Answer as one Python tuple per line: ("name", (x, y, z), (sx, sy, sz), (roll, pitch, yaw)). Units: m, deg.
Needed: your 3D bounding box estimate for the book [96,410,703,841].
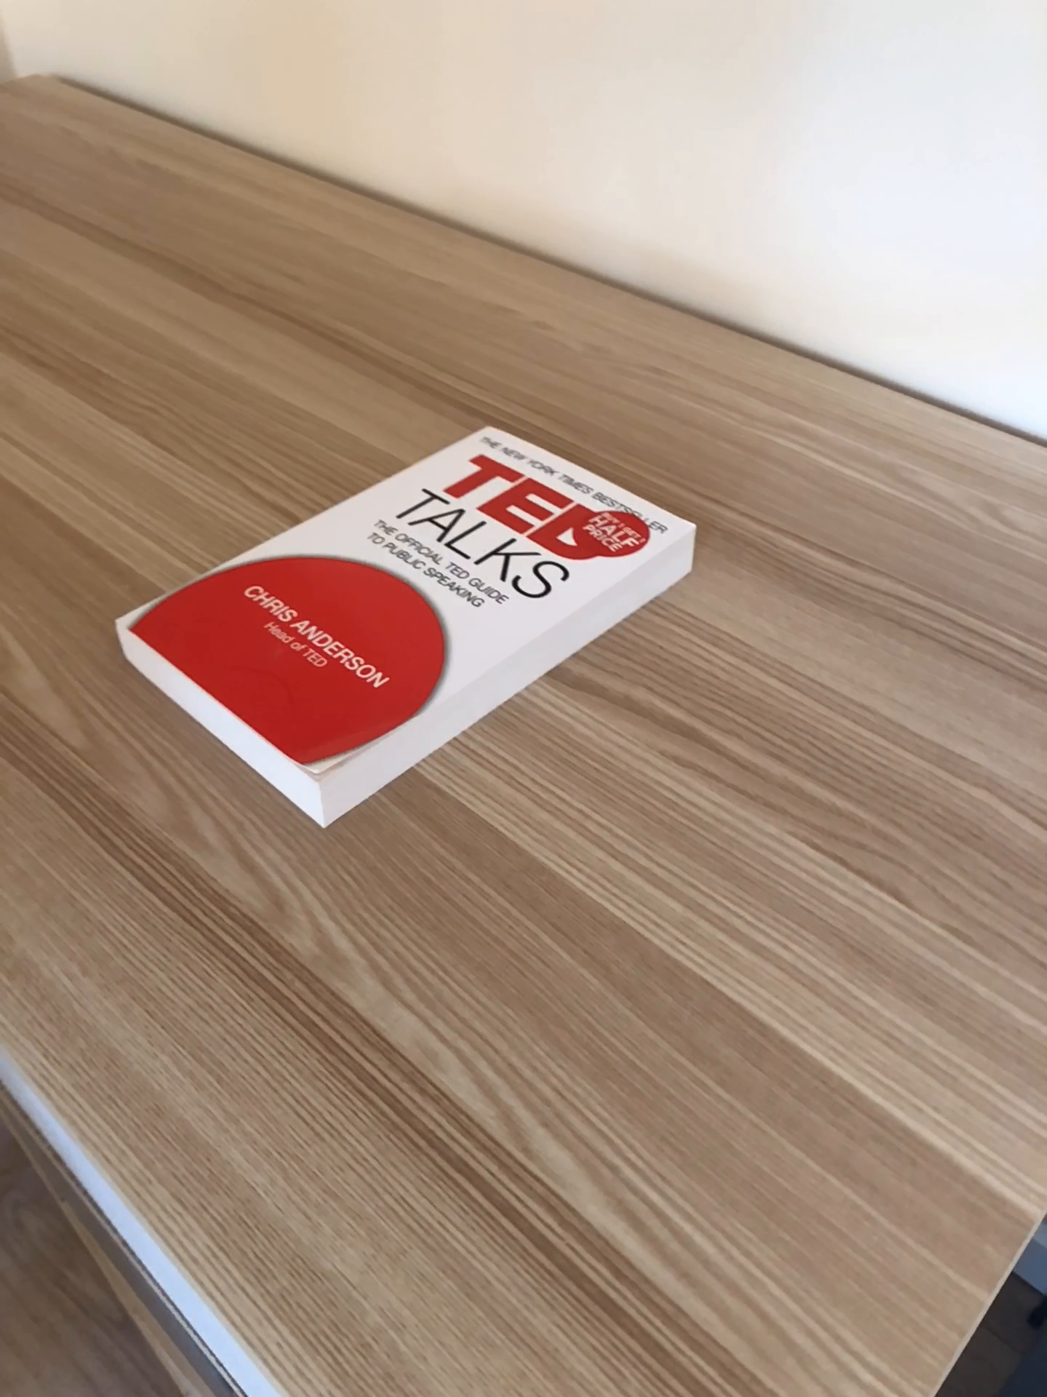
("book", (-0.047, -0.047, 0.500), (0.138, 0.030, 0.221), (33, 53, 31))
